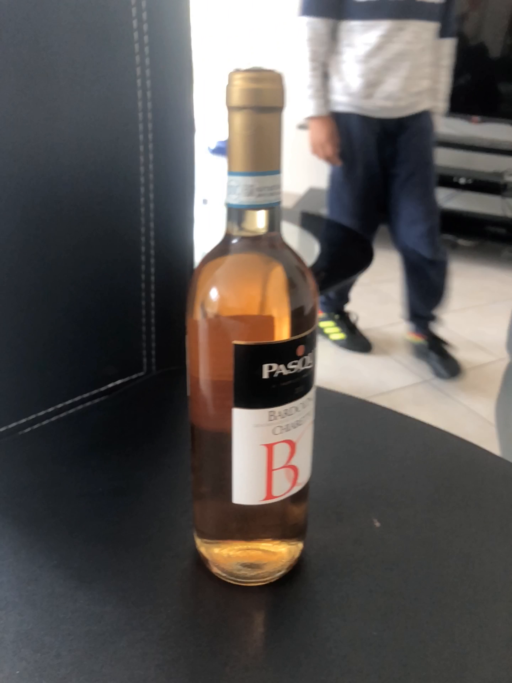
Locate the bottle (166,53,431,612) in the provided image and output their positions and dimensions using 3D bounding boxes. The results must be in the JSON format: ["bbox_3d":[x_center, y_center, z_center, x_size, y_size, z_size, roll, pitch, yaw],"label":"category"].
[{"bbox_3d":[0.006,0.005,0.309,0.080,0.278,0.080,4,27,-2],"label":"bottle"}]
